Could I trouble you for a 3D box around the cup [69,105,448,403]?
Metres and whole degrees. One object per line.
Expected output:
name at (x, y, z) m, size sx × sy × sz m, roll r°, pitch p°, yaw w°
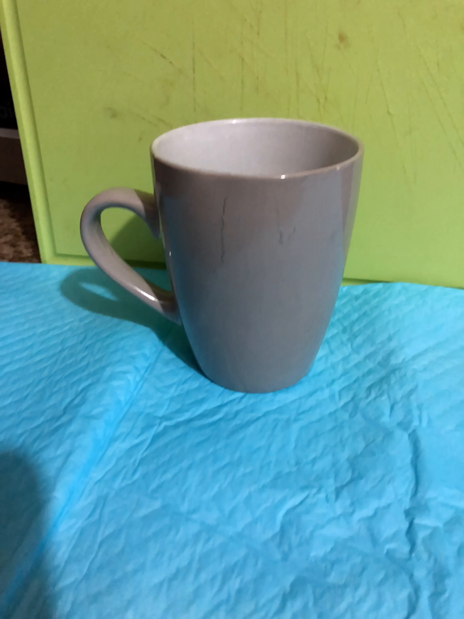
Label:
cup at (0.006, -0.025, 0.203) m, size 0.110 × 0.090 × 0.070 m, roll -3°, pitch 31°, yaw -5°
